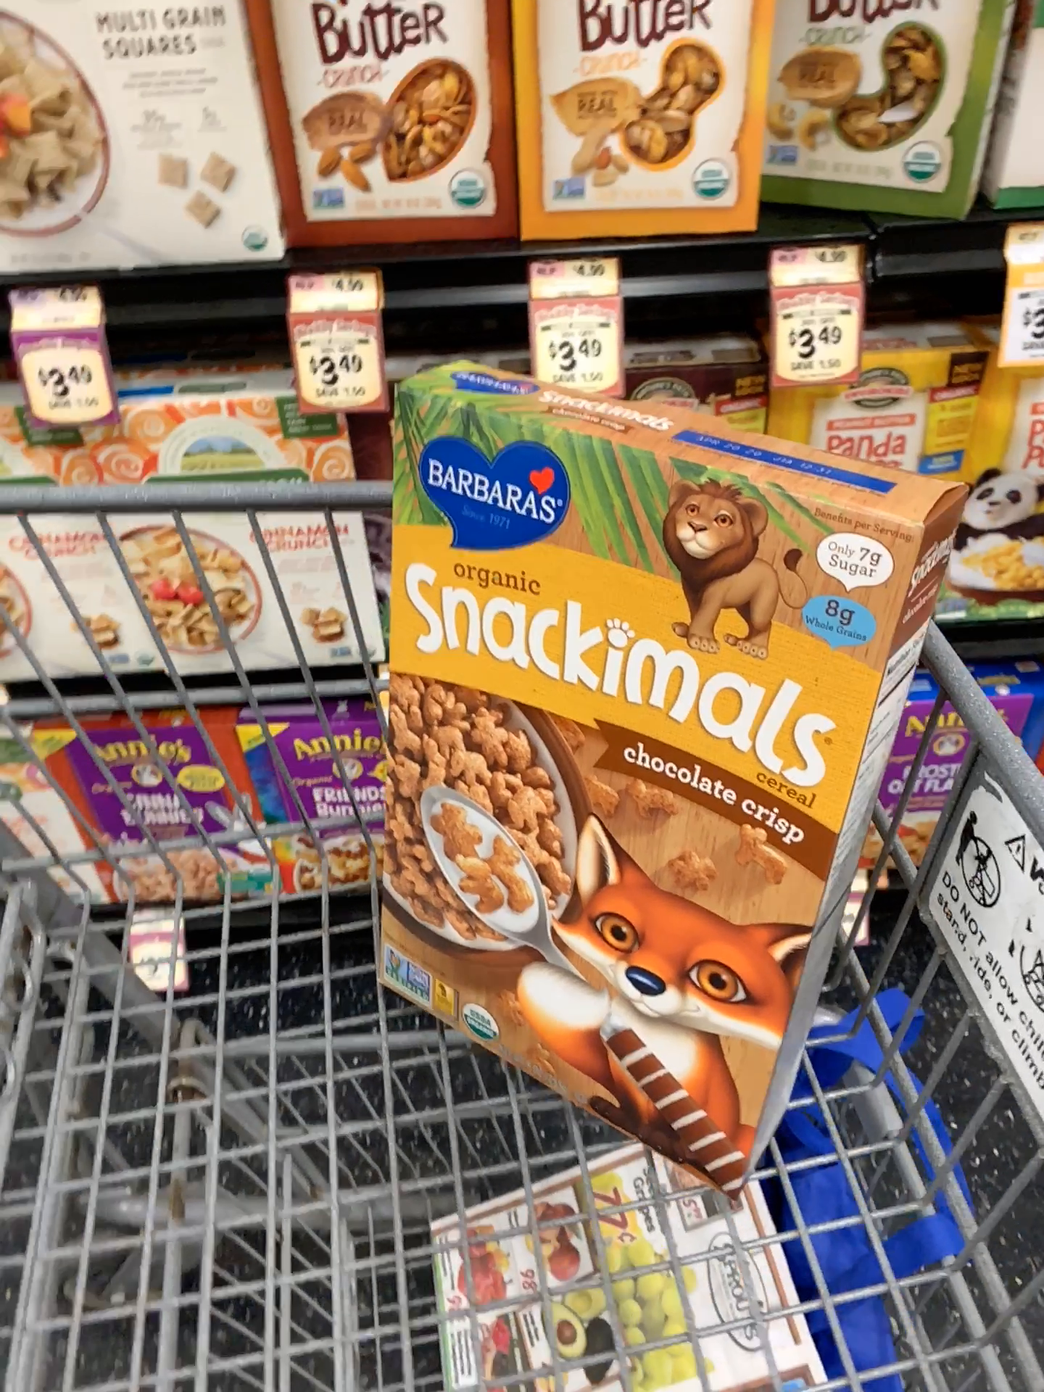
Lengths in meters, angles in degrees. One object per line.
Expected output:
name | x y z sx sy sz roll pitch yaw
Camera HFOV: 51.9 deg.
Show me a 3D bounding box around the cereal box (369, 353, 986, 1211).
cereal box | 0.031 0.034 0.390 0.180 0.269 0.050 22 34 27
